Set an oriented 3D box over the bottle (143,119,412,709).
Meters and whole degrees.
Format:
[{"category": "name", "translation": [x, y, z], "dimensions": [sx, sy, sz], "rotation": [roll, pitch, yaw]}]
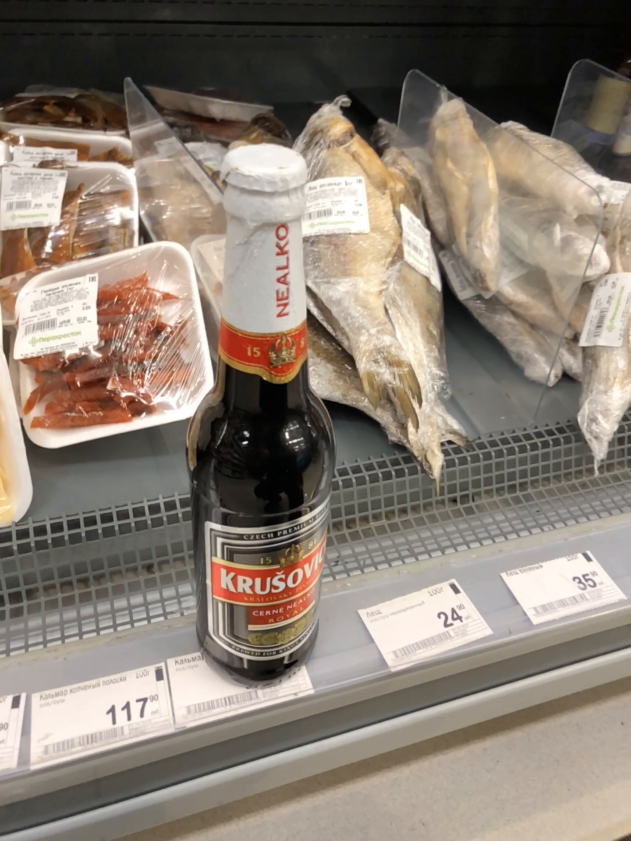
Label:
[{"category": "bottle", "translation": [-0.024, 0.017, 0.315], "dimensions": [0.070, 0.268, 0.070], "rotation": [3, 38, -2]}]
